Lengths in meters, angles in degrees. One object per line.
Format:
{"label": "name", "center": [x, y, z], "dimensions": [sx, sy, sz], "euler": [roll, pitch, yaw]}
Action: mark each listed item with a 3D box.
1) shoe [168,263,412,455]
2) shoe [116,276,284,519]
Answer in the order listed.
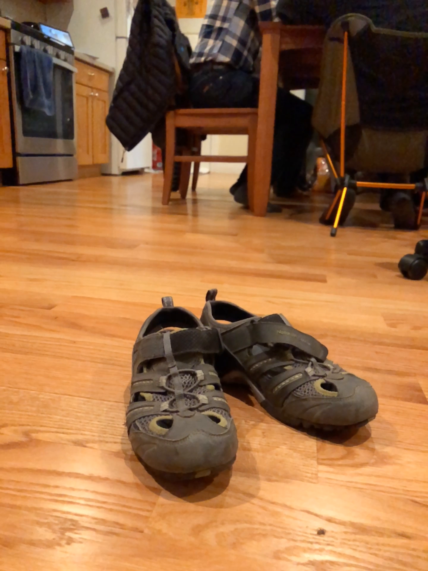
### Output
{"label": "shoe", "center": [0.068, 0.060, 0.521], "dimensions": [0.100, 0.113, 0.245], "euler": [-12, 21, -43]}
{"label": "shoe", "center": [-0.033, 0.078, 0.450], "dimensions": [0.100, 0.113, 0.246], "euler": [-2, 16, -15]}
